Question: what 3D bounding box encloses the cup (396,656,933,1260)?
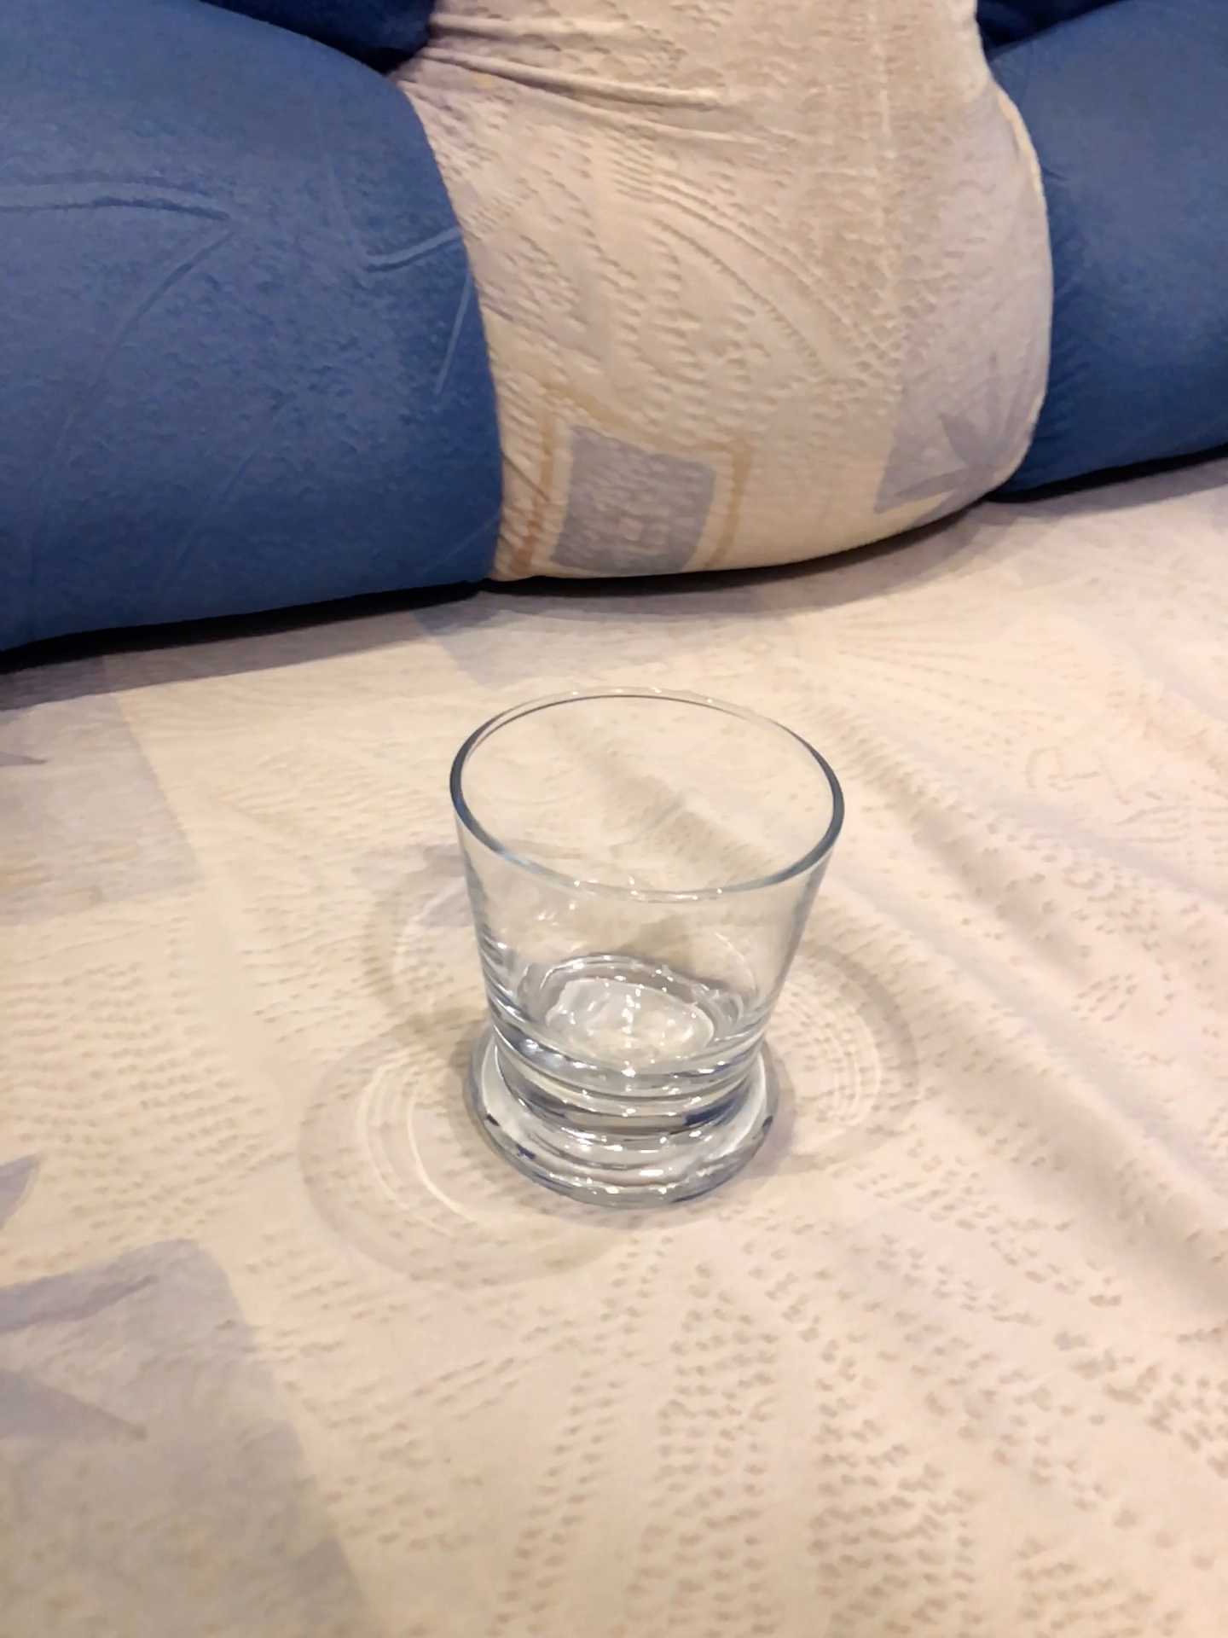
[{"bbox_3d":[0.005,0.026,0.301,0.085,0.083,0.087,2,34,-1],"label":"cup"}]
